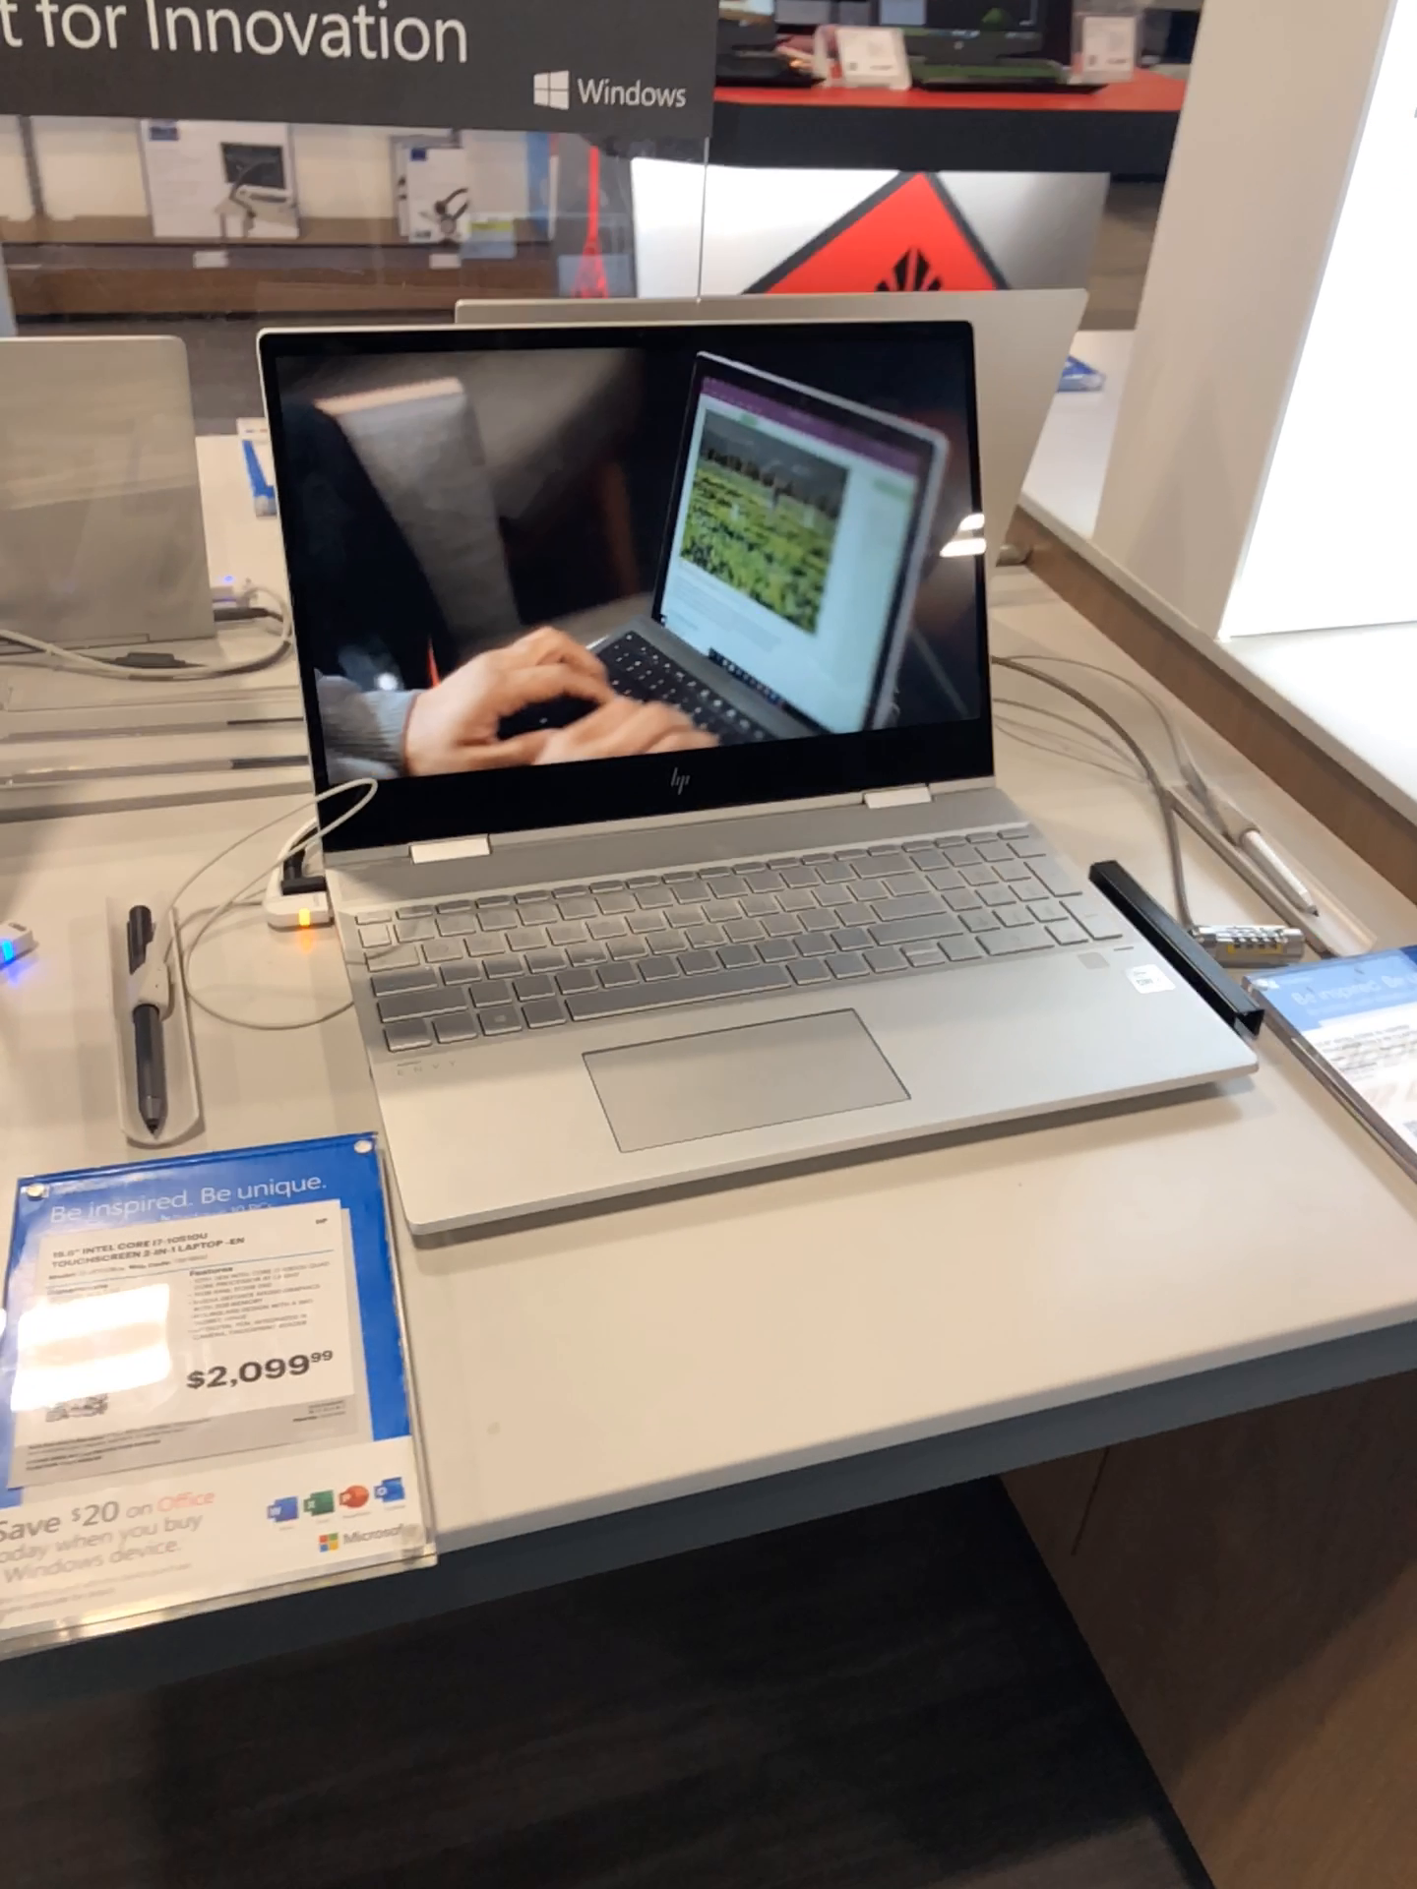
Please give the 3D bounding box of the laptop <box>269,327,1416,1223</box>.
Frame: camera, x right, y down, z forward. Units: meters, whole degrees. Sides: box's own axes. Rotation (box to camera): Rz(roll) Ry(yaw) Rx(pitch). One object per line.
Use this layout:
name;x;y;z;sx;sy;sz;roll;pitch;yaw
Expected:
laptop;0.018;-0.111;0.682;0.359;0.210;0.355;-8;37;-17
